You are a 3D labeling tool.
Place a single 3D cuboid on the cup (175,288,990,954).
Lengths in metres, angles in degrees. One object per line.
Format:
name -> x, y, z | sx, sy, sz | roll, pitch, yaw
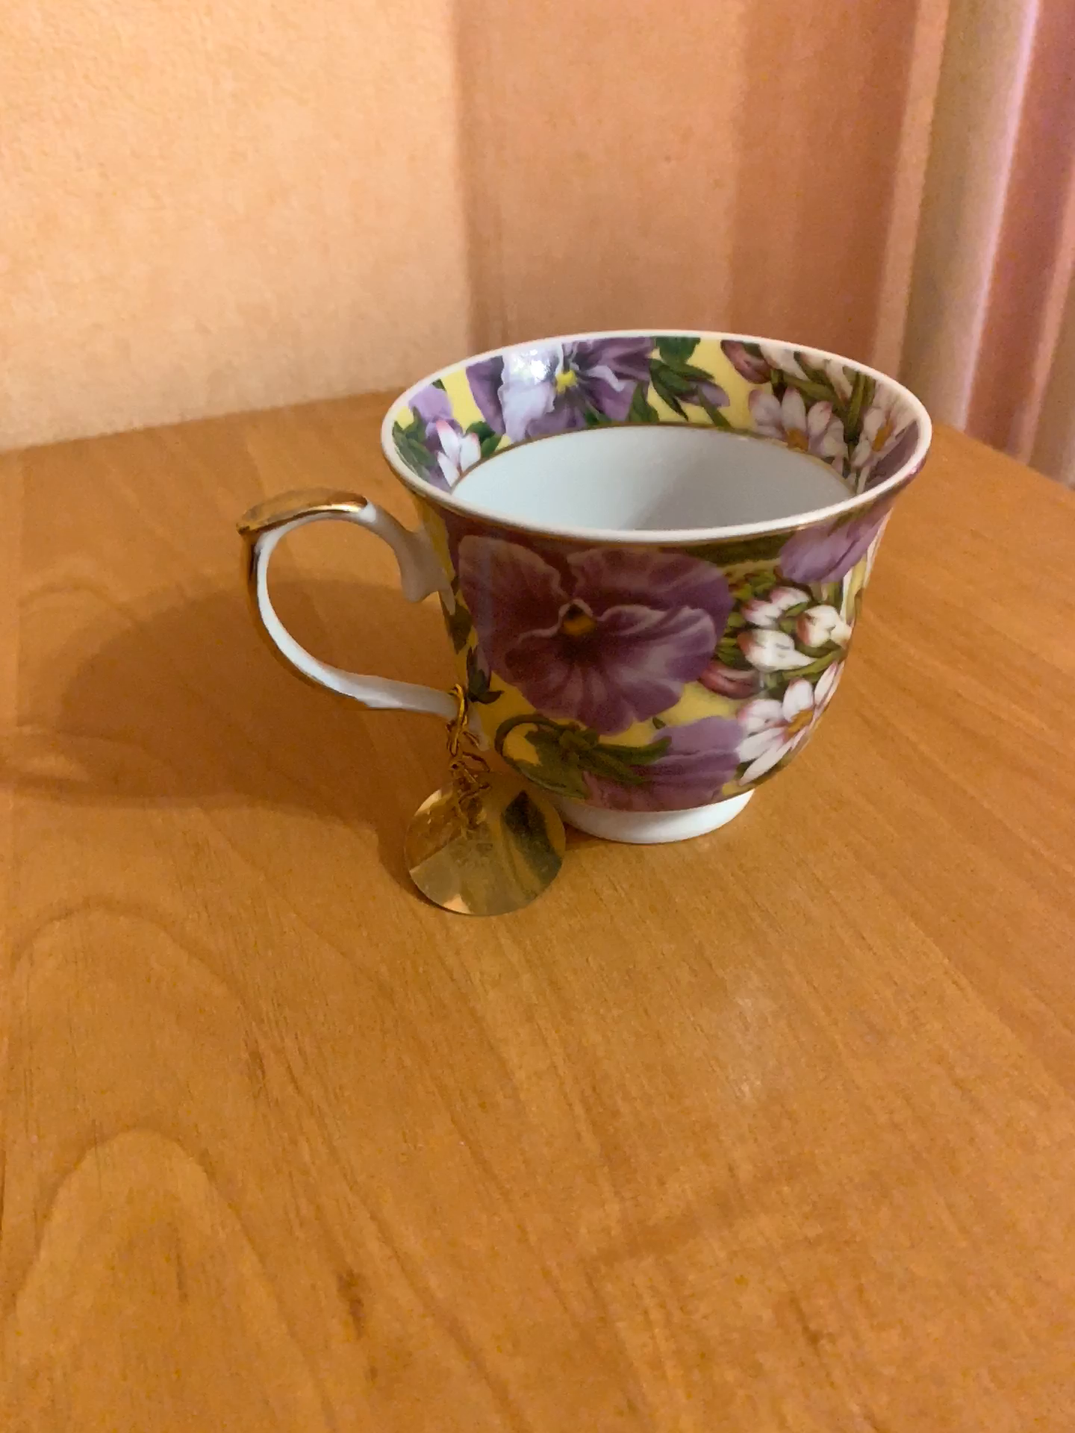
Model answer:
cup -> 0.002, -0.024, 0.196 | 0.108, 0.069, 0.077 | -12, 35, -13
